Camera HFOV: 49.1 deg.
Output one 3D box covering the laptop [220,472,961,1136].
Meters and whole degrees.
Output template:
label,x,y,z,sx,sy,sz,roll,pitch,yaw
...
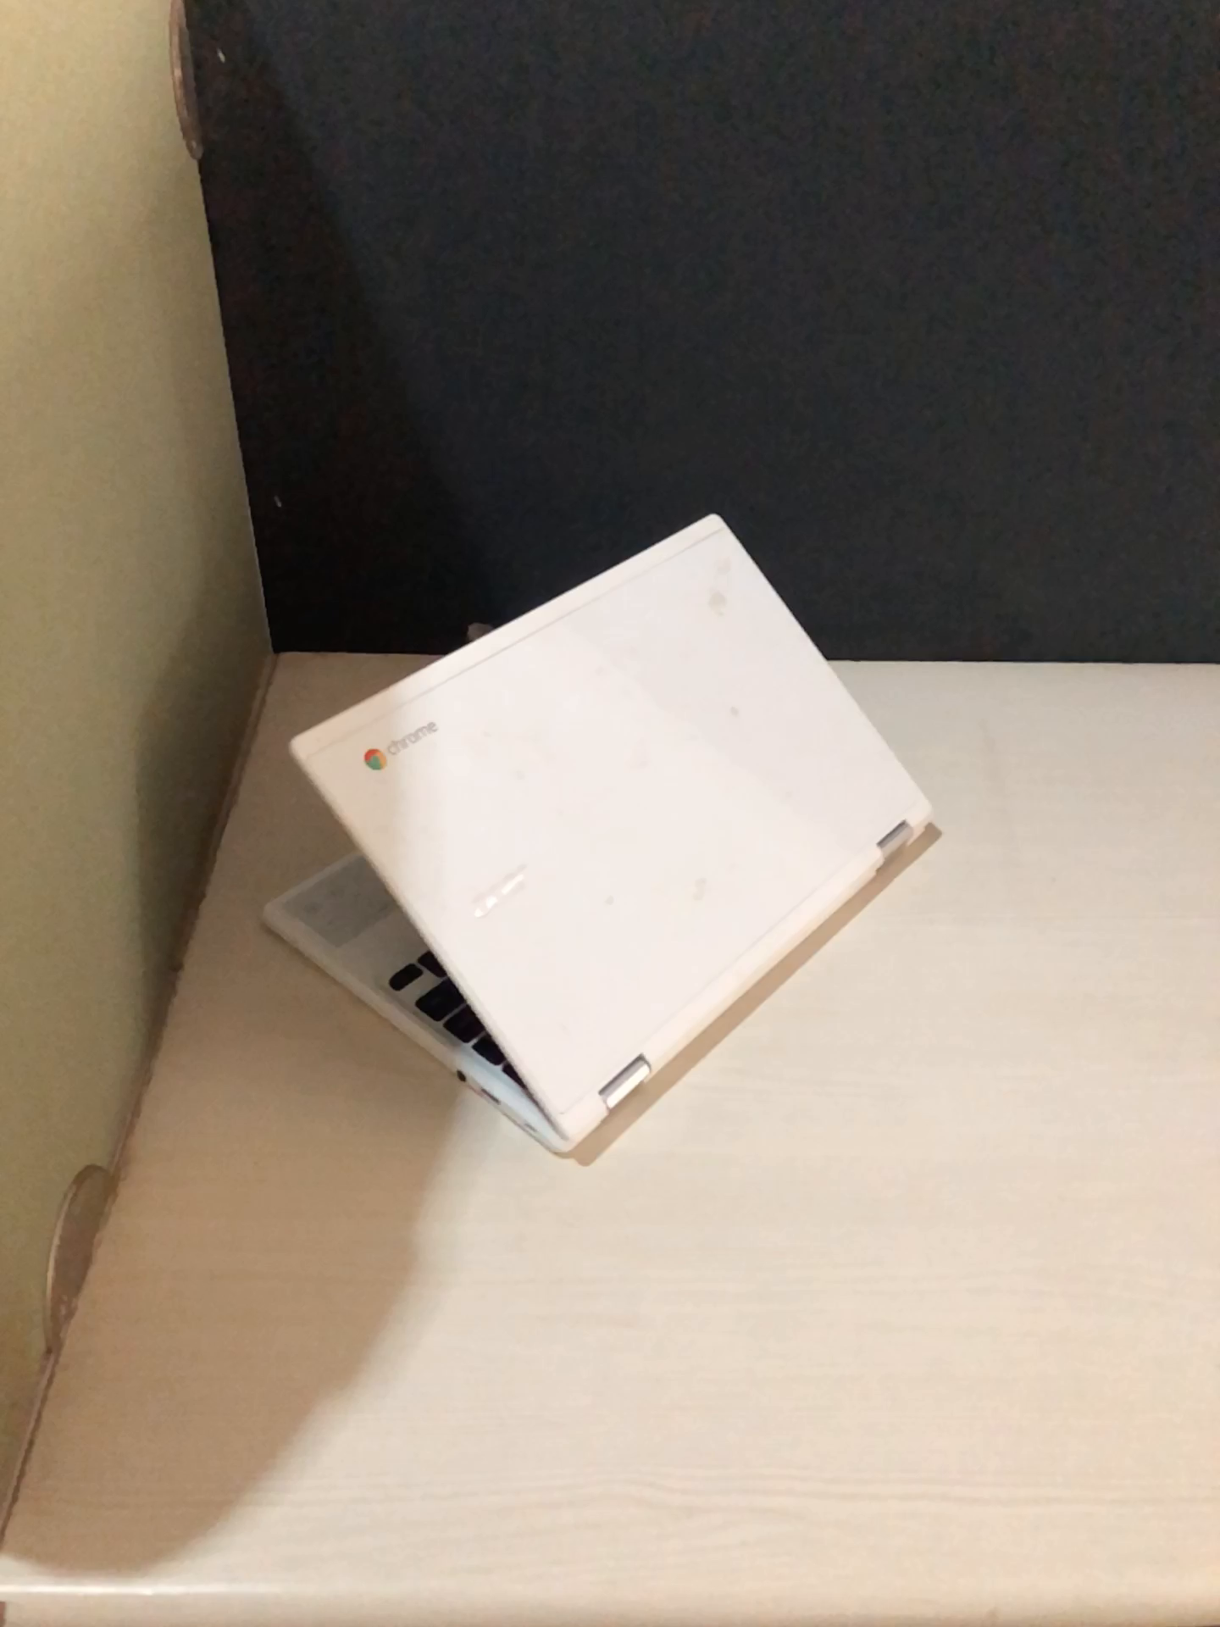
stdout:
label,x,y,z,sx,sy,sz,roll,pitch,yaw
laptop,0.001,-0.028,0.626,0.187,0.114,0.286,31,47,28
